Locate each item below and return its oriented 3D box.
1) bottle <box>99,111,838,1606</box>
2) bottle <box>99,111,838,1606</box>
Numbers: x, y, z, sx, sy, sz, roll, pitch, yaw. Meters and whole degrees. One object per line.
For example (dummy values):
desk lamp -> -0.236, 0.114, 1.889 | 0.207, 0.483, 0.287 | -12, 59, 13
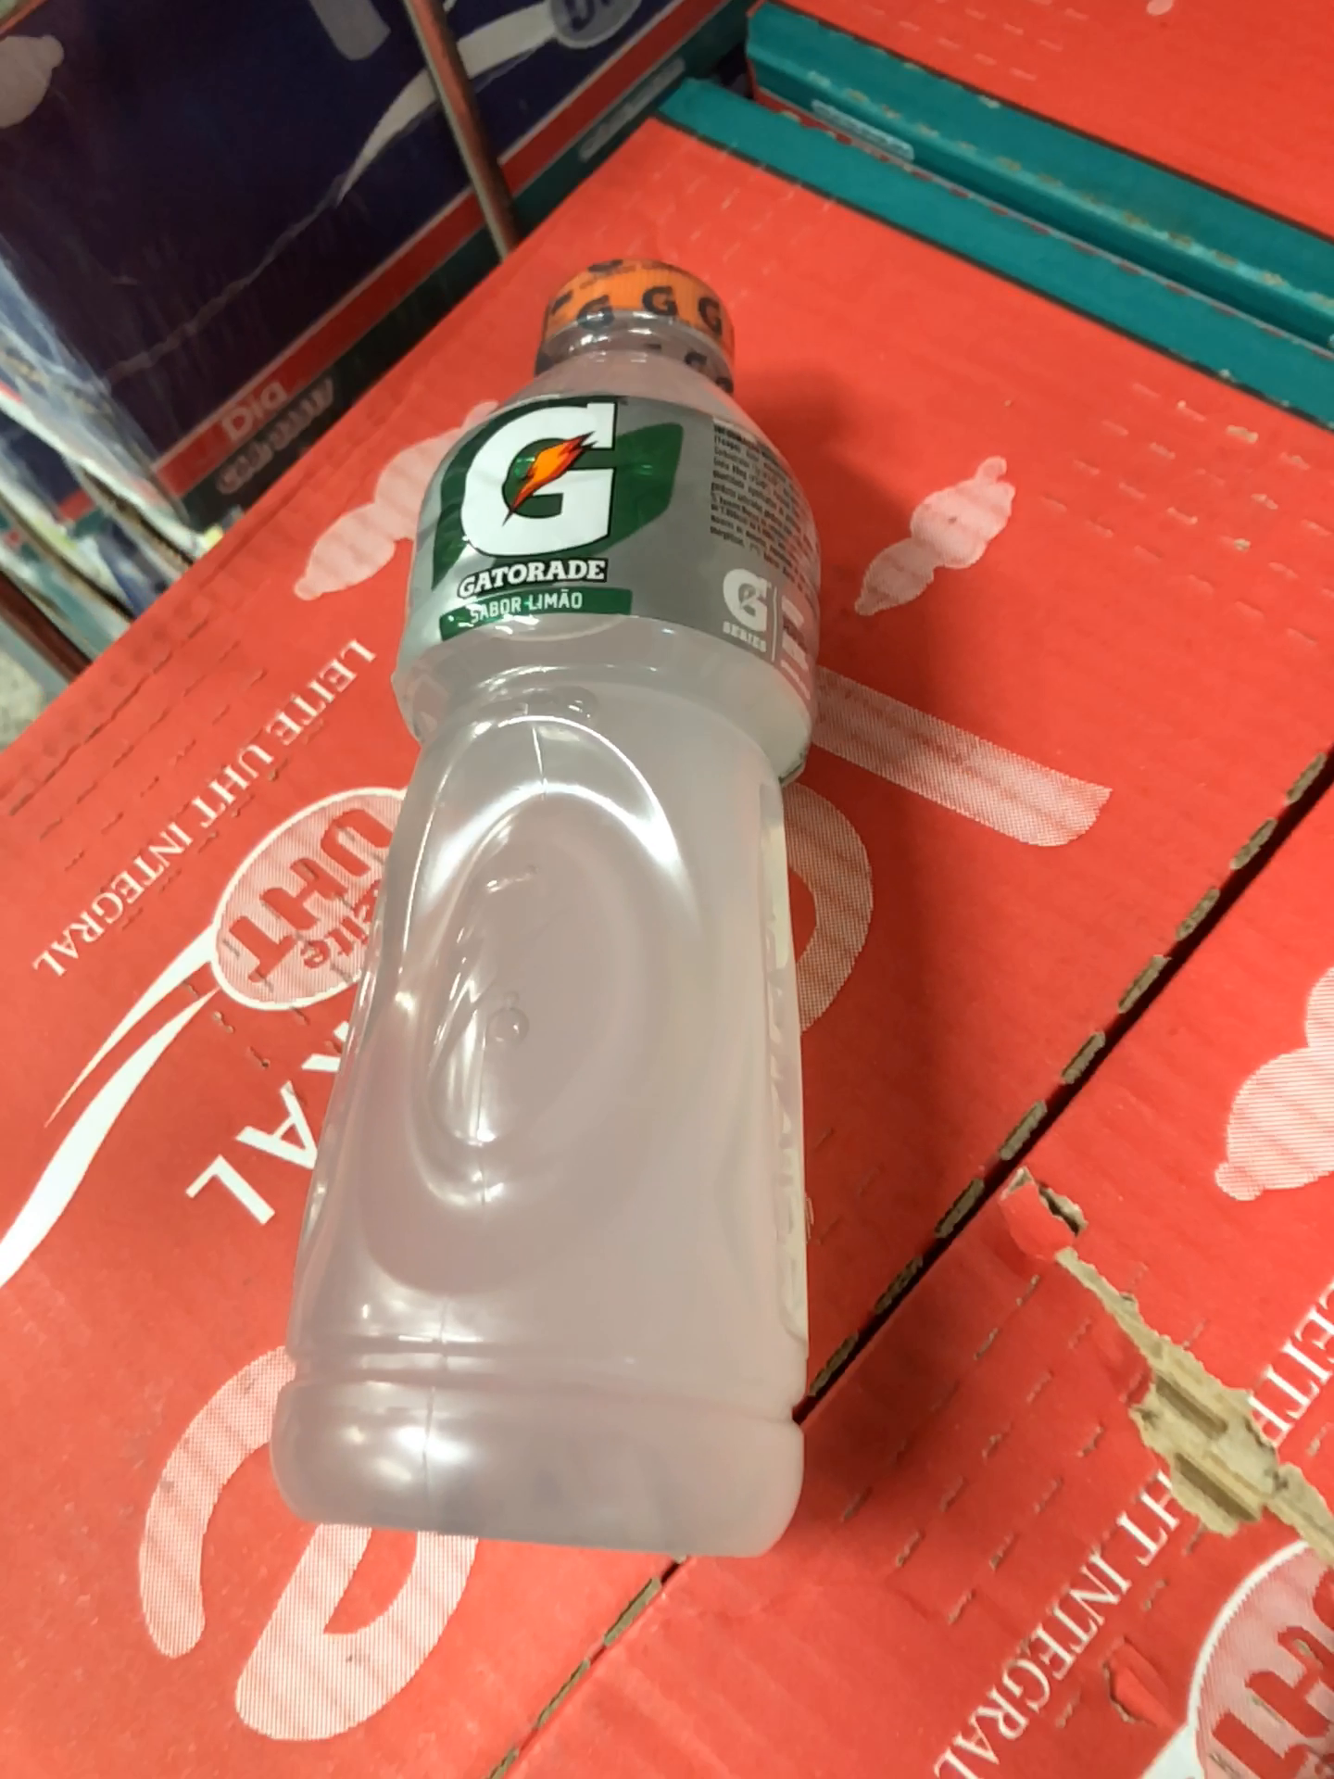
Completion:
bottle -> -0.014, -0.012, 0.223 | 0.070, 0.060, 0.211 | -2, 65, 13
bottle -> -0.014, -0.012, 0.223 | 0.070, 0.060, 0.211 | -2, 65, 13
